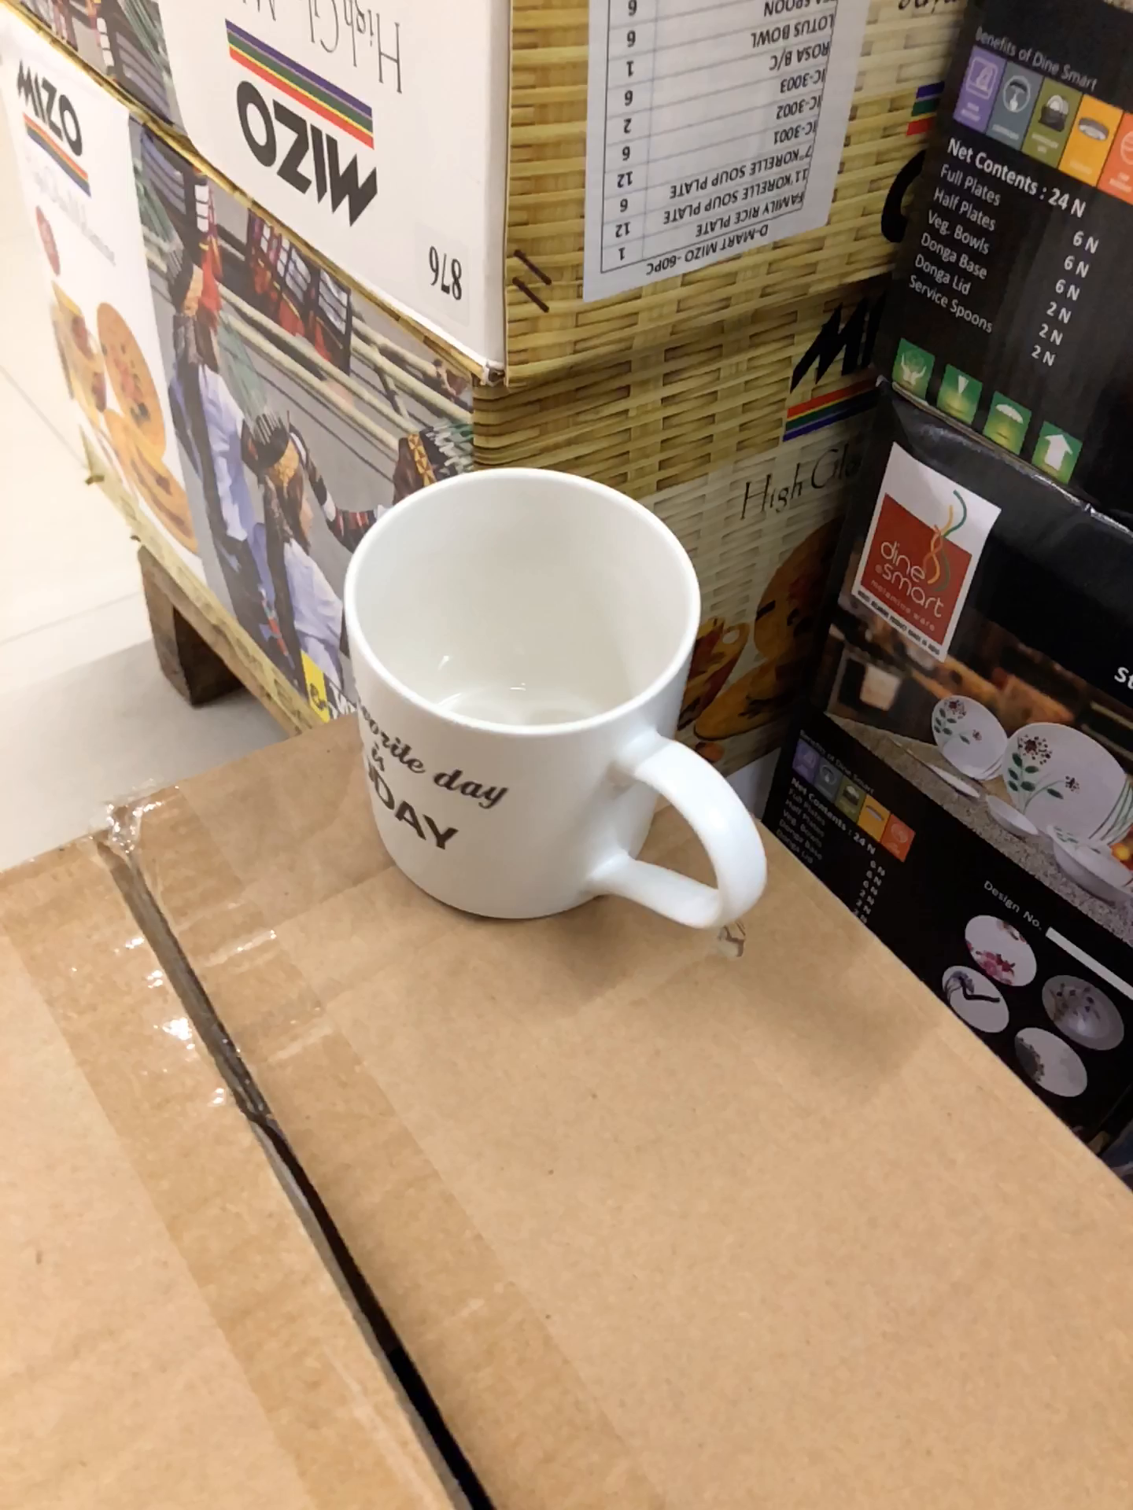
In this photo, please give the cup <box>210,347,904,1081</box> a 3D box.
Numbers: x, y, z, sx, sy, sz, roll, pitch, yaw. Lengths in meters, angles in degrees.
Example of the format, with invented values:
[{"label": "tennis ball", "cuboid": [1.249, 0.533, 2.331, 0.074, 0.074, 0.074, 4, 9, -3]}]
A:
[{"label": "cup", "cuboid": [-0.007, -0.010, 0.308, 0.080, 0.099, 0.130, -38, 66, -25]}]
